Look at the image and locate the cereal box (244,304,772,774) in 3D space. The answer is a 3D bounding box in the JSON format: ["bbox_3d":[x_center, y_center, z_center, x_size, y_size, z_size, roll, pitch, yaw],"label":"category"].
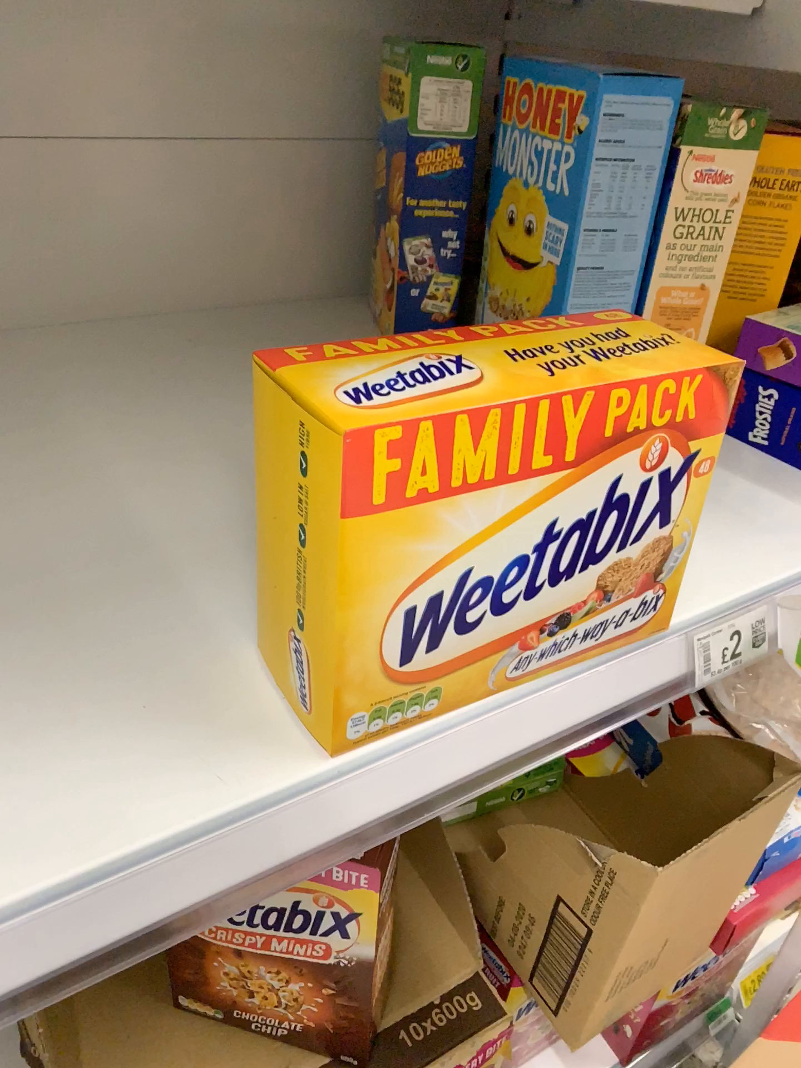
[{"bbox_3d":[0.055,-0.010,0.455,0.261,0.188,0.091,-14,36,-28],"label":"cereal box"}]
